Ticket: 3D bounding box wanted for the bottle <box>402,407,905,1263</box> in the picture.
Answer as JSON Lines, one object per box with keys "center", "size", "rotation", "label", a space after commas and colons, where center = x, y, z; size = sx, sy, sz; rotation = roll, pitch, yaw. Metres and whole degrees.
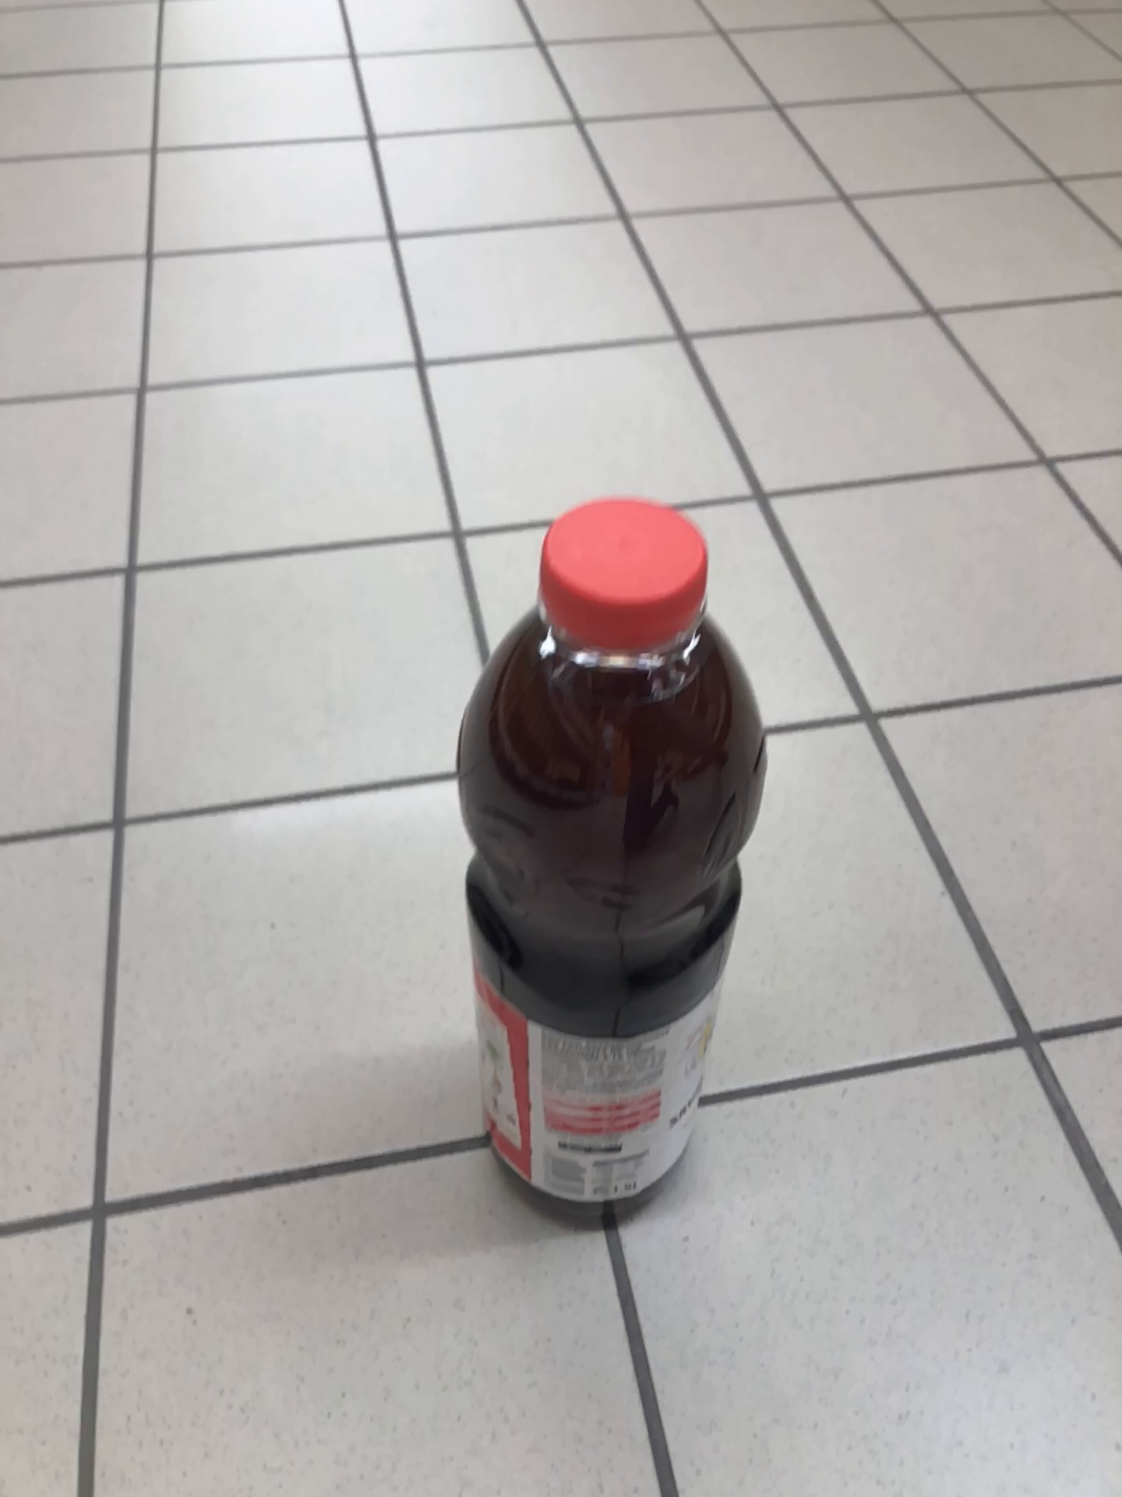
{"center": [0.015, 0.050, 0.389], "size": [0.090, 0.288, 0.090], "rotation": [0, 48, 0], "label": "bottle"}
